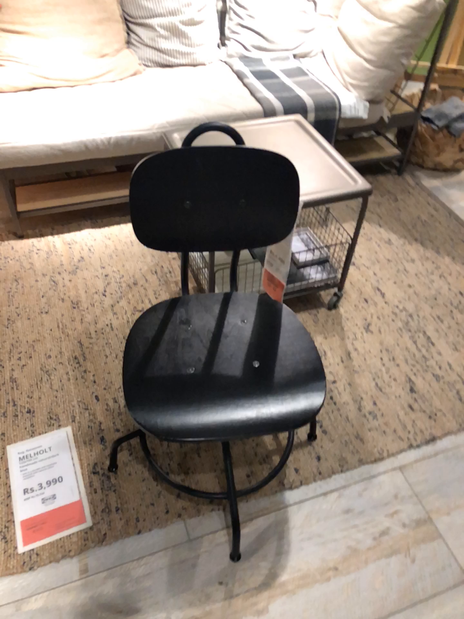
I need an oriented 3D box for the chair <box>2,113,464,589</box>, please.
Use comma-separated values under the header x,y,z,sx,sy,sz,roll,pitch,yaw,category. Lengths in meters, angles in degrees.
x,y,z,sx,sy,sz,roll,pitch,yaw,category
-0.019,0.101,1.064,0.590,0.765,0.584,-5,46,-8,chair
